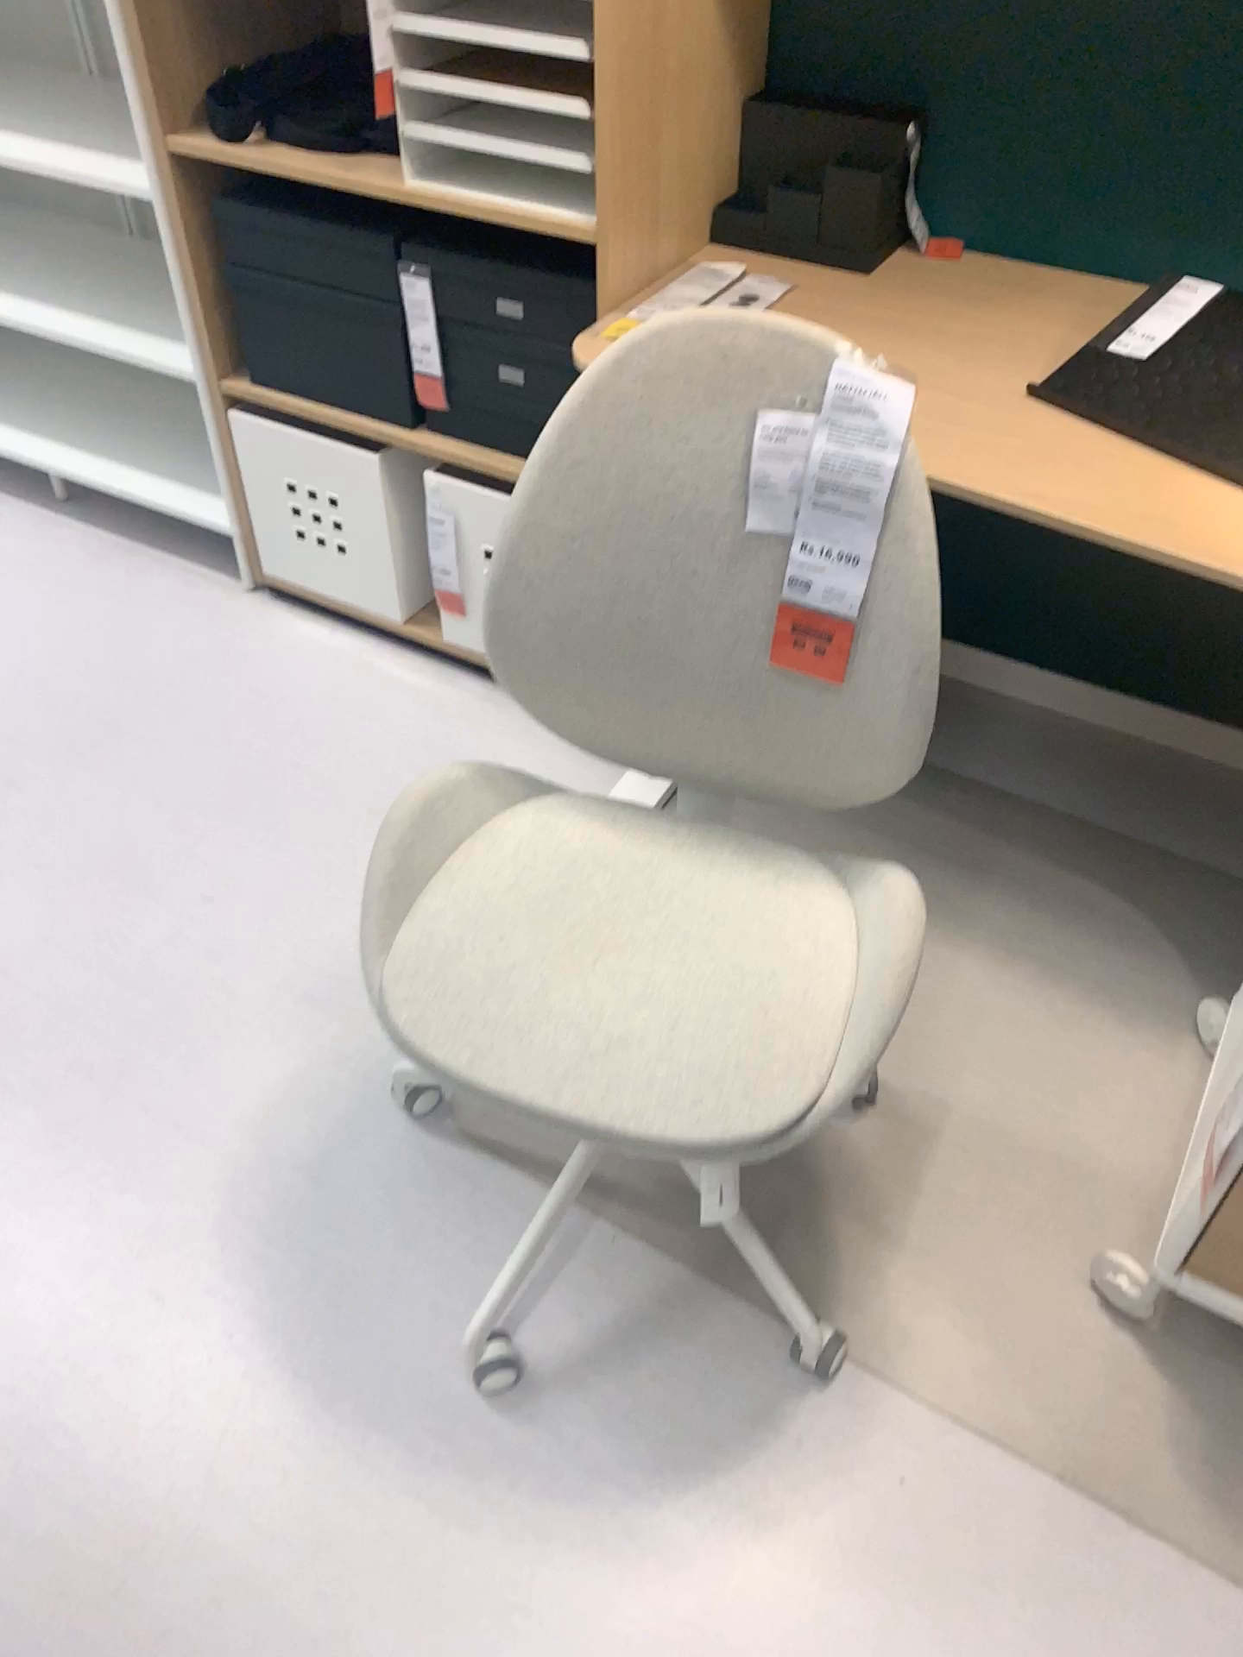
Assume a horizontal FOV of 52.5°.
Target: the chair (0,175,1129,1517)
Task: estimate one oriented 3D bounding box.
[{"bbox_3d":[-0.001,0.039,1.211,0.630,0.997,0.642,14,45,15],"label":"chair"}]
